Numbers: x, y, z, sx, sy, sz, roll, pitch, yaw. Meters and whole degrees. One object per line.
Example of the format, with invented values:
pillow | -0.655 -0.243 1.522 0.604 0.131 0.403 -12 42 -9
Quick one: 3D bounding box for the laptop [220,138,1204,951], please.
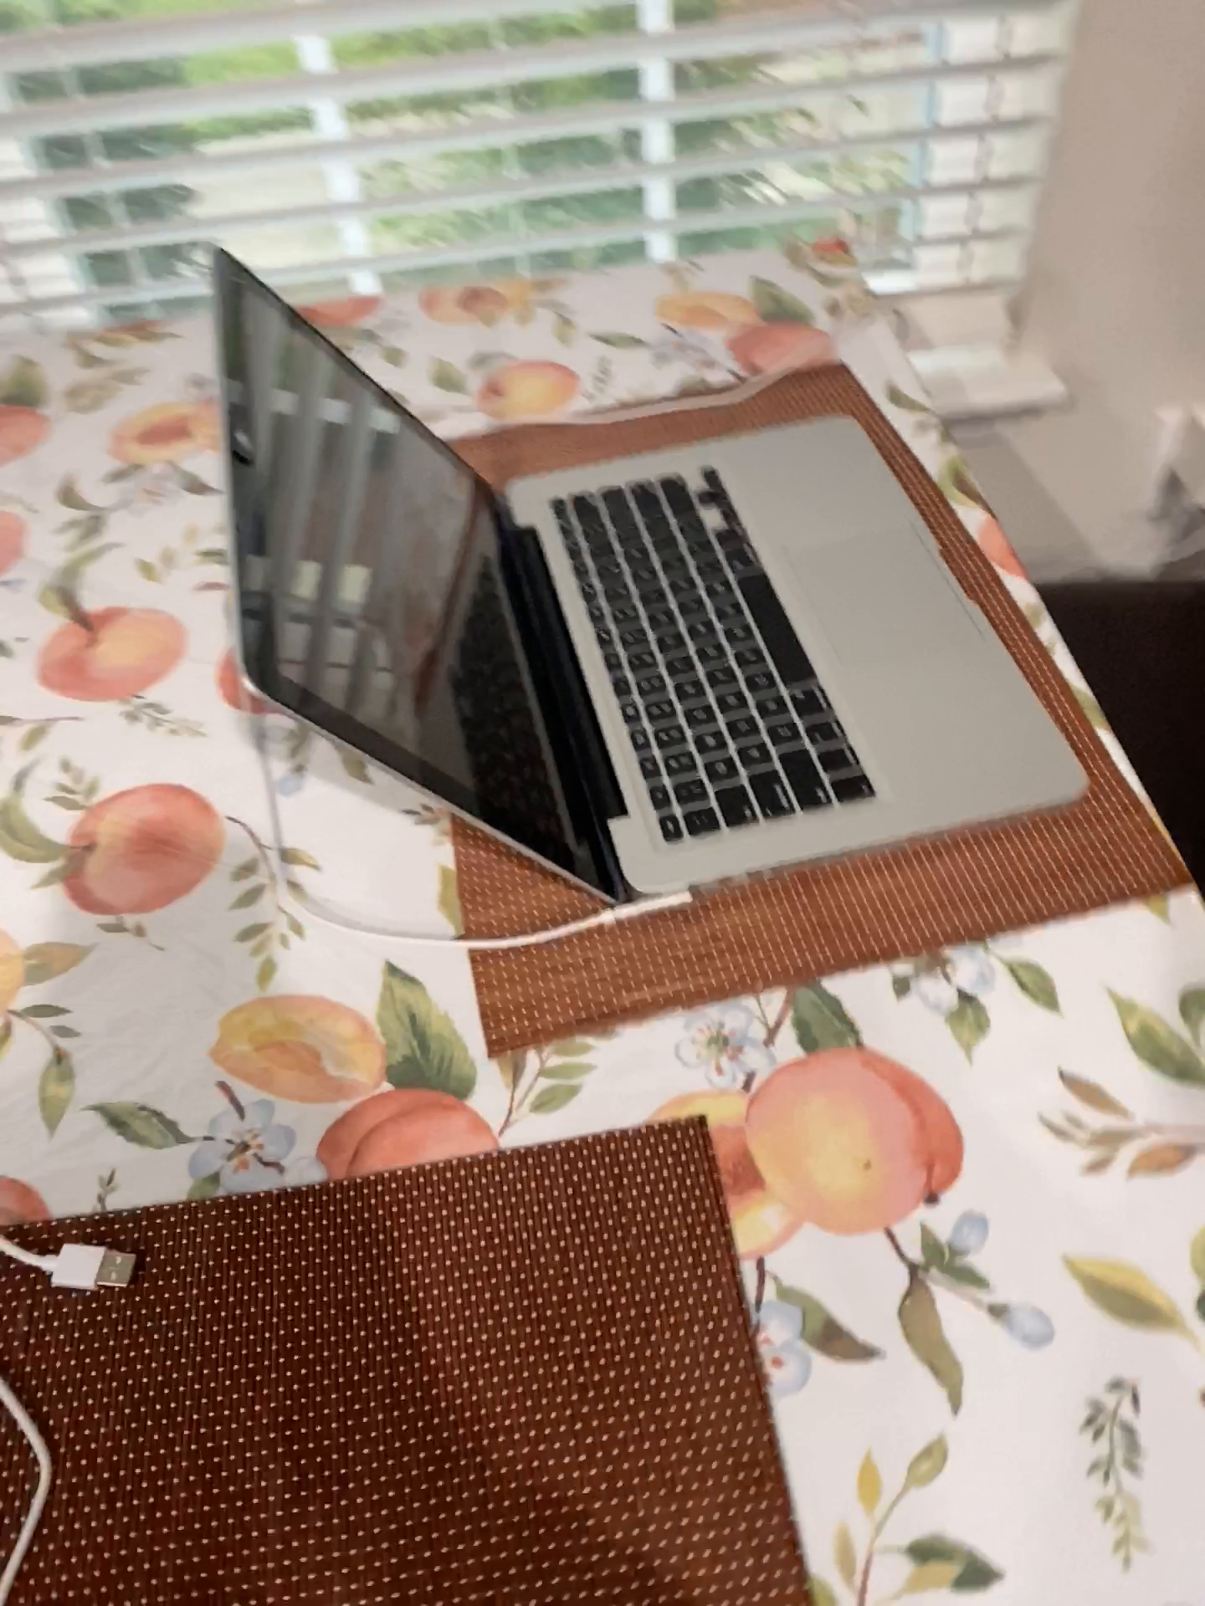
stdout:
laptop | 0.021 -0.142 0.594 0.348 0.162 0.318 -13 52 -6
